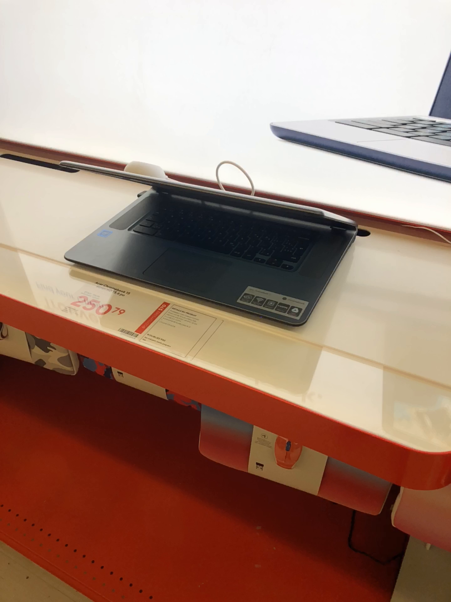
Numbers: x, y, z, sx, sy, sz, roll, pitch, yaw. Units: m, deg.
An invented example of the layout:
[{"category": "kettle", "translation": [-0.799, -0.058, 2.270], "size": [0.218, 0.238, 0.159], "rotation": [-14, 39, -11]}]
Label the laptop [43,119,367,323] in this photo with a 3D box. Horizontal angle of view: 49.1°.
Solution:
[{"category": "laptop", "translation": [-0.021, -0.136, 0.695], "size": [0.364, 0.122, 0.238], "rotation": [16, 41, 22]}]
